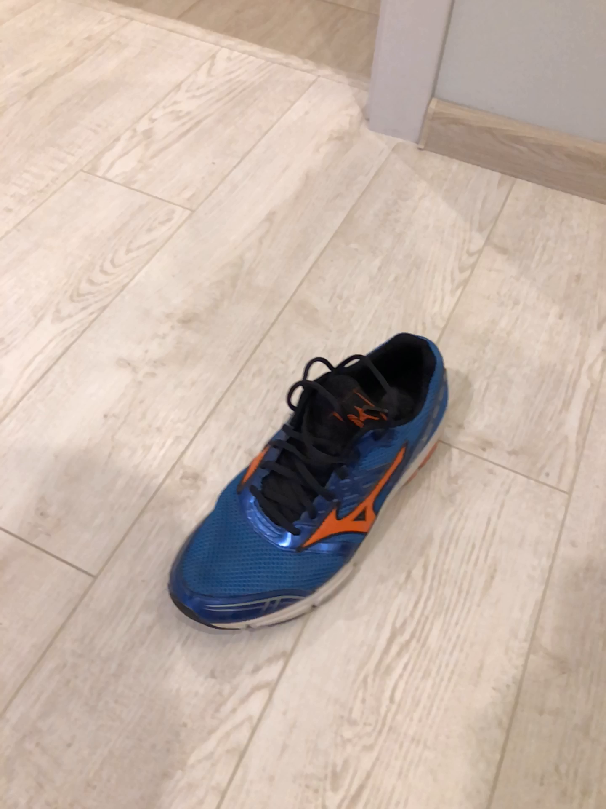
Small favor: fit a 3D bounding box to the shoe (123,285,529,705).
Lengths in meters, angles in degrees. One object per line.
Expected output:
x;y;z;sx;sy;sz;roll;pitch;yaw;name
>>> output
0.028;0.056;0.513;0.116;0.119;0.301;37;60;21;shoe
